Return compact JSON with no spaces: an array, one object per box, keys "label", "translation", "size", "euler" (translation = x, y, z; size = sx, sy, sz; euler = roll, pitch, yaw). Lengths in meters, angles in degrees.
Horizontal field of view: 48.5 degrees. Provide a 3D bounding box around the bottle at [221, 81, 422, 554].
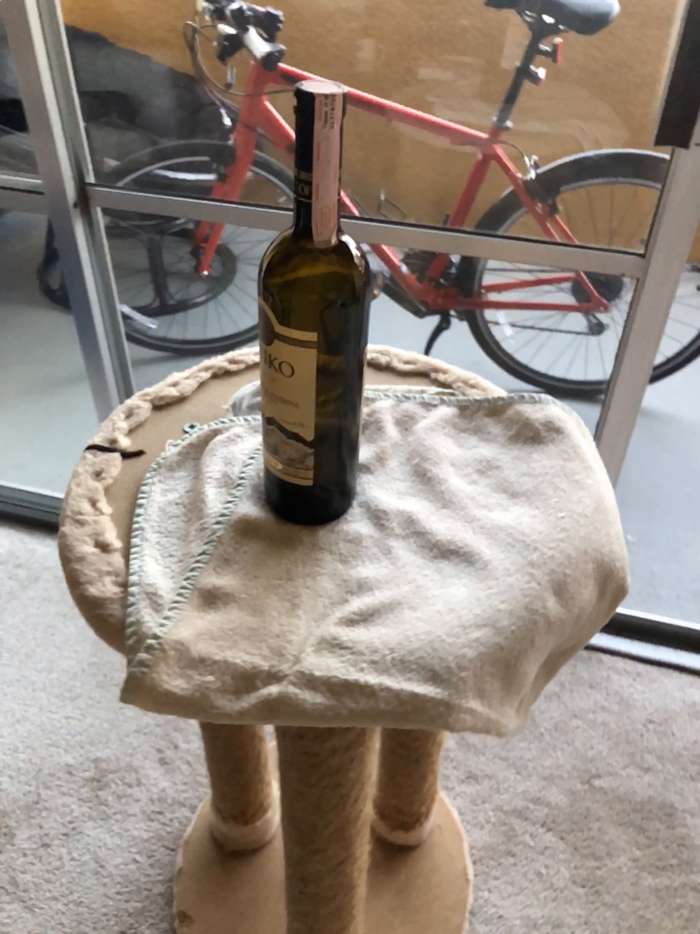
[{"label":"bottle","translation":[-0.019,-0.078,0.478],"size":[0.080,0.269,0.080],"euler":[1,39,-1]}]
